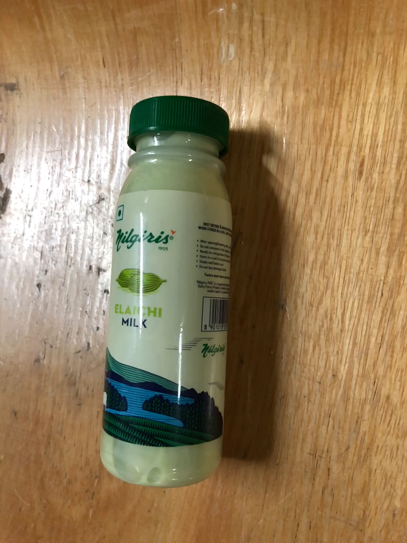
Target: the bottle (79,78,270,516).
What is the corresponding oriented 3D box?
[{"bbox_3d":[-0.009,0.007,0.174,0.050,0.040,0.140,3,88,22],"label":"bottle"}]
